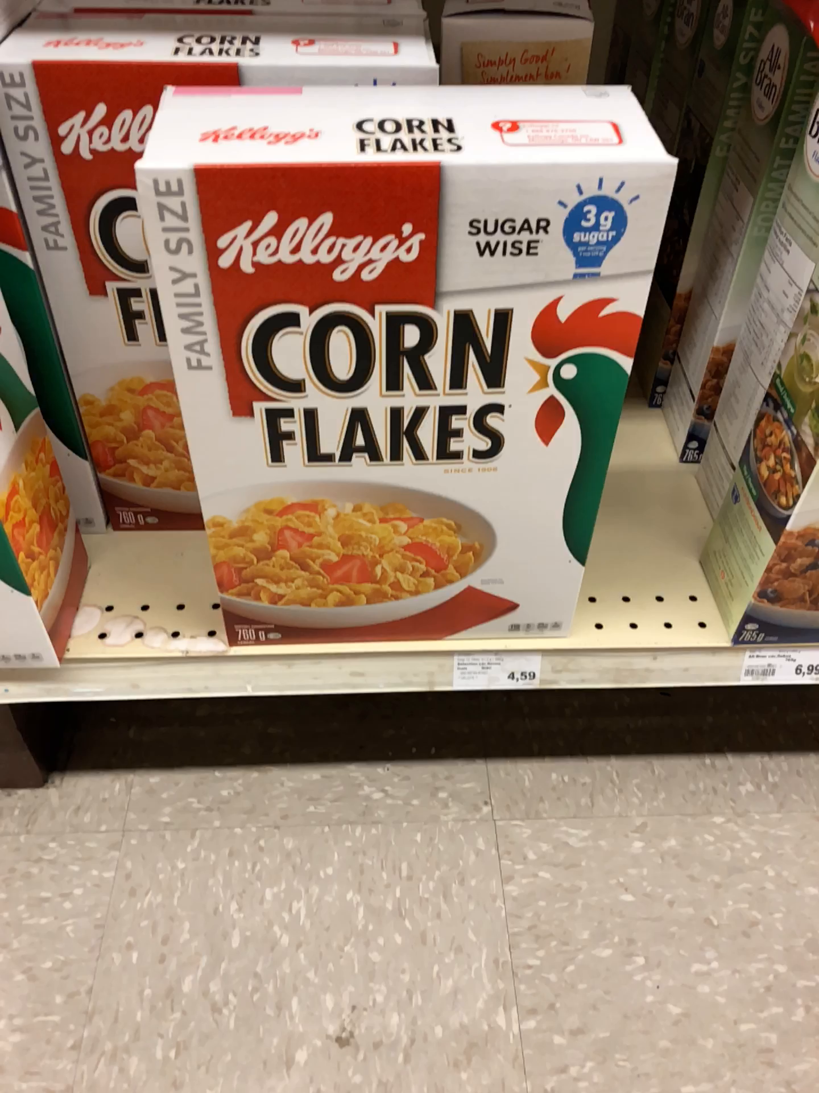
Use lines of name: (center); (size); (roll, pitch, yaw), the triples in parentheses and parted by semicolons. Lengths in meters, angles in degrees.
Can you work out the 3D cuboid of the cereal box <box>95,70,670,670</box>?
cereal box: (-0.018, -0.087, 0.592); (0.270, 0.387, 0.101); (-2, 44, -4)
